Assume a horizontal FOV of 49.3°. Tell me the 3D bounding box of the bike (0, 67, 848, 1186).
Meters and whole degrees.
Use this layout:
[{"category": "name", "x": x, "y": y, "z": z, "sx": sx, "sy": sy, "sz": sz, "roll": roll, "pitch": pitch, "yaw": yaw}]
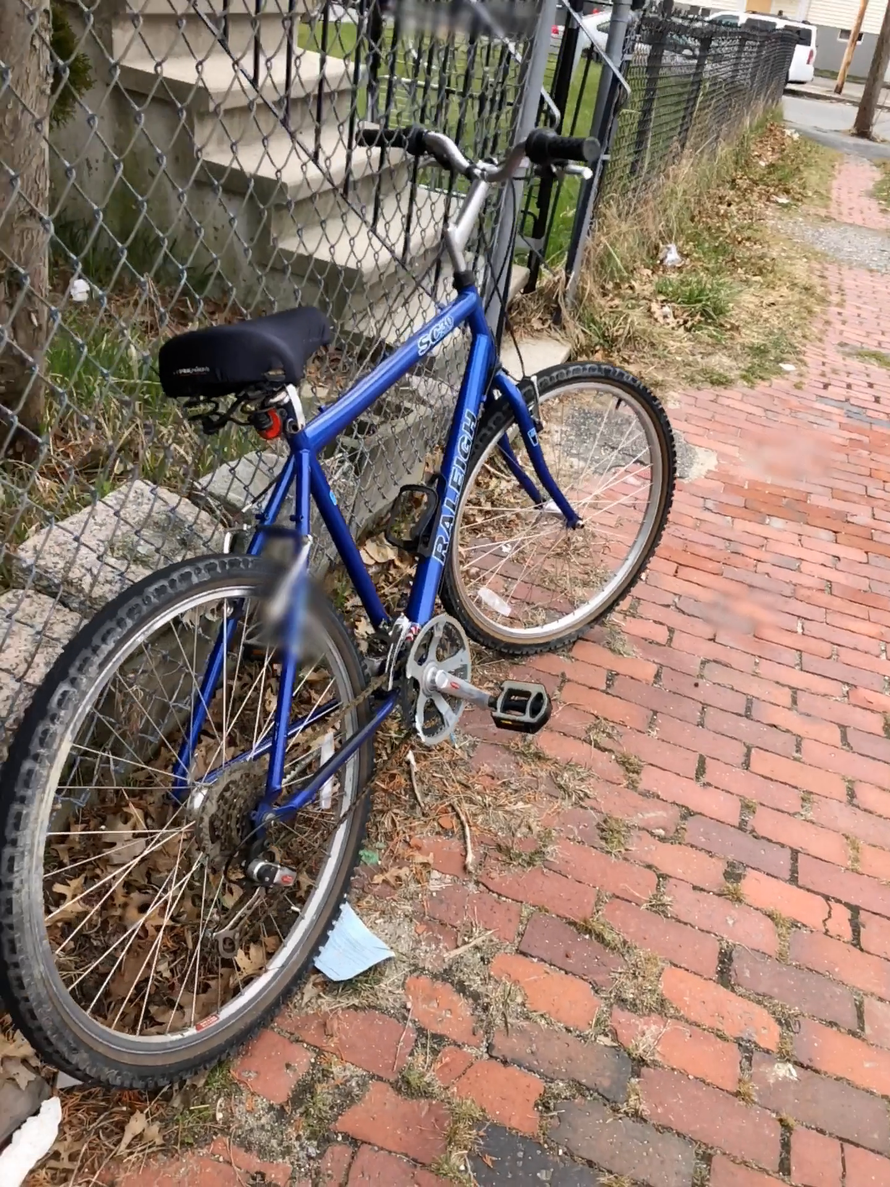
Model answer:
[{"category": "bike", "x": -0.093, "y": -0.189, "z": 1.524, "sx": 0.679, "sy": 1.024, "sz": 1.674, "roll": 23, "pitch": 36, "yaw": 25}]
